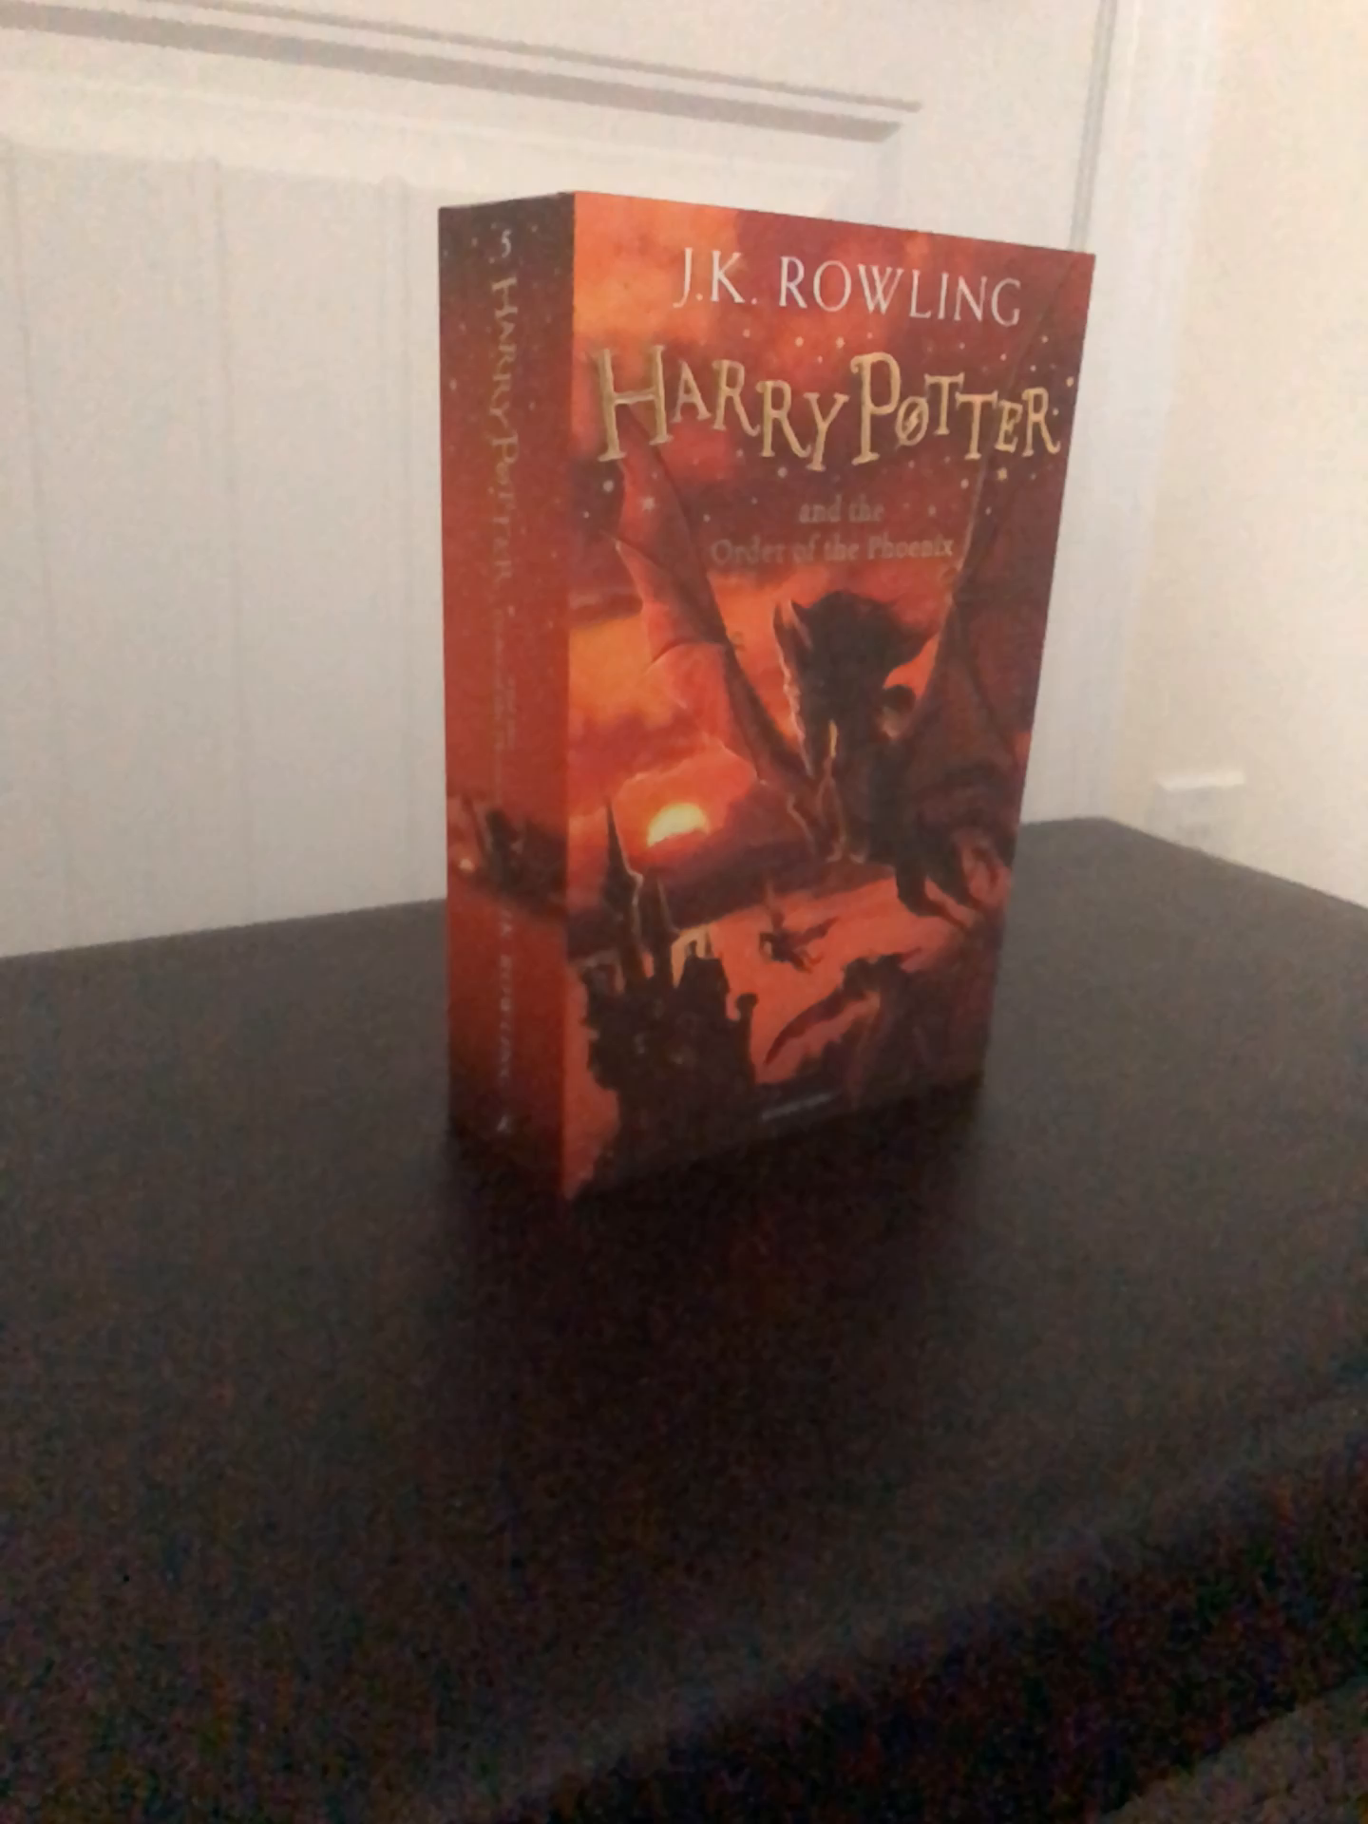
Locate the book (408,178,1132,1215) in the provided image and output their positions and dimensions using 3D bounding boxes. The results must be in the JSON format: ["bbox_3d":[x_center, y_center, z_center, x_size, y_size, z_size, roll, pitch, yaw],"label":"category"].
[{"bbox_3d":[0.017,-0.049,0.340,0.141,0.189,0.061,-11,24,-36],"label":"book"}]
